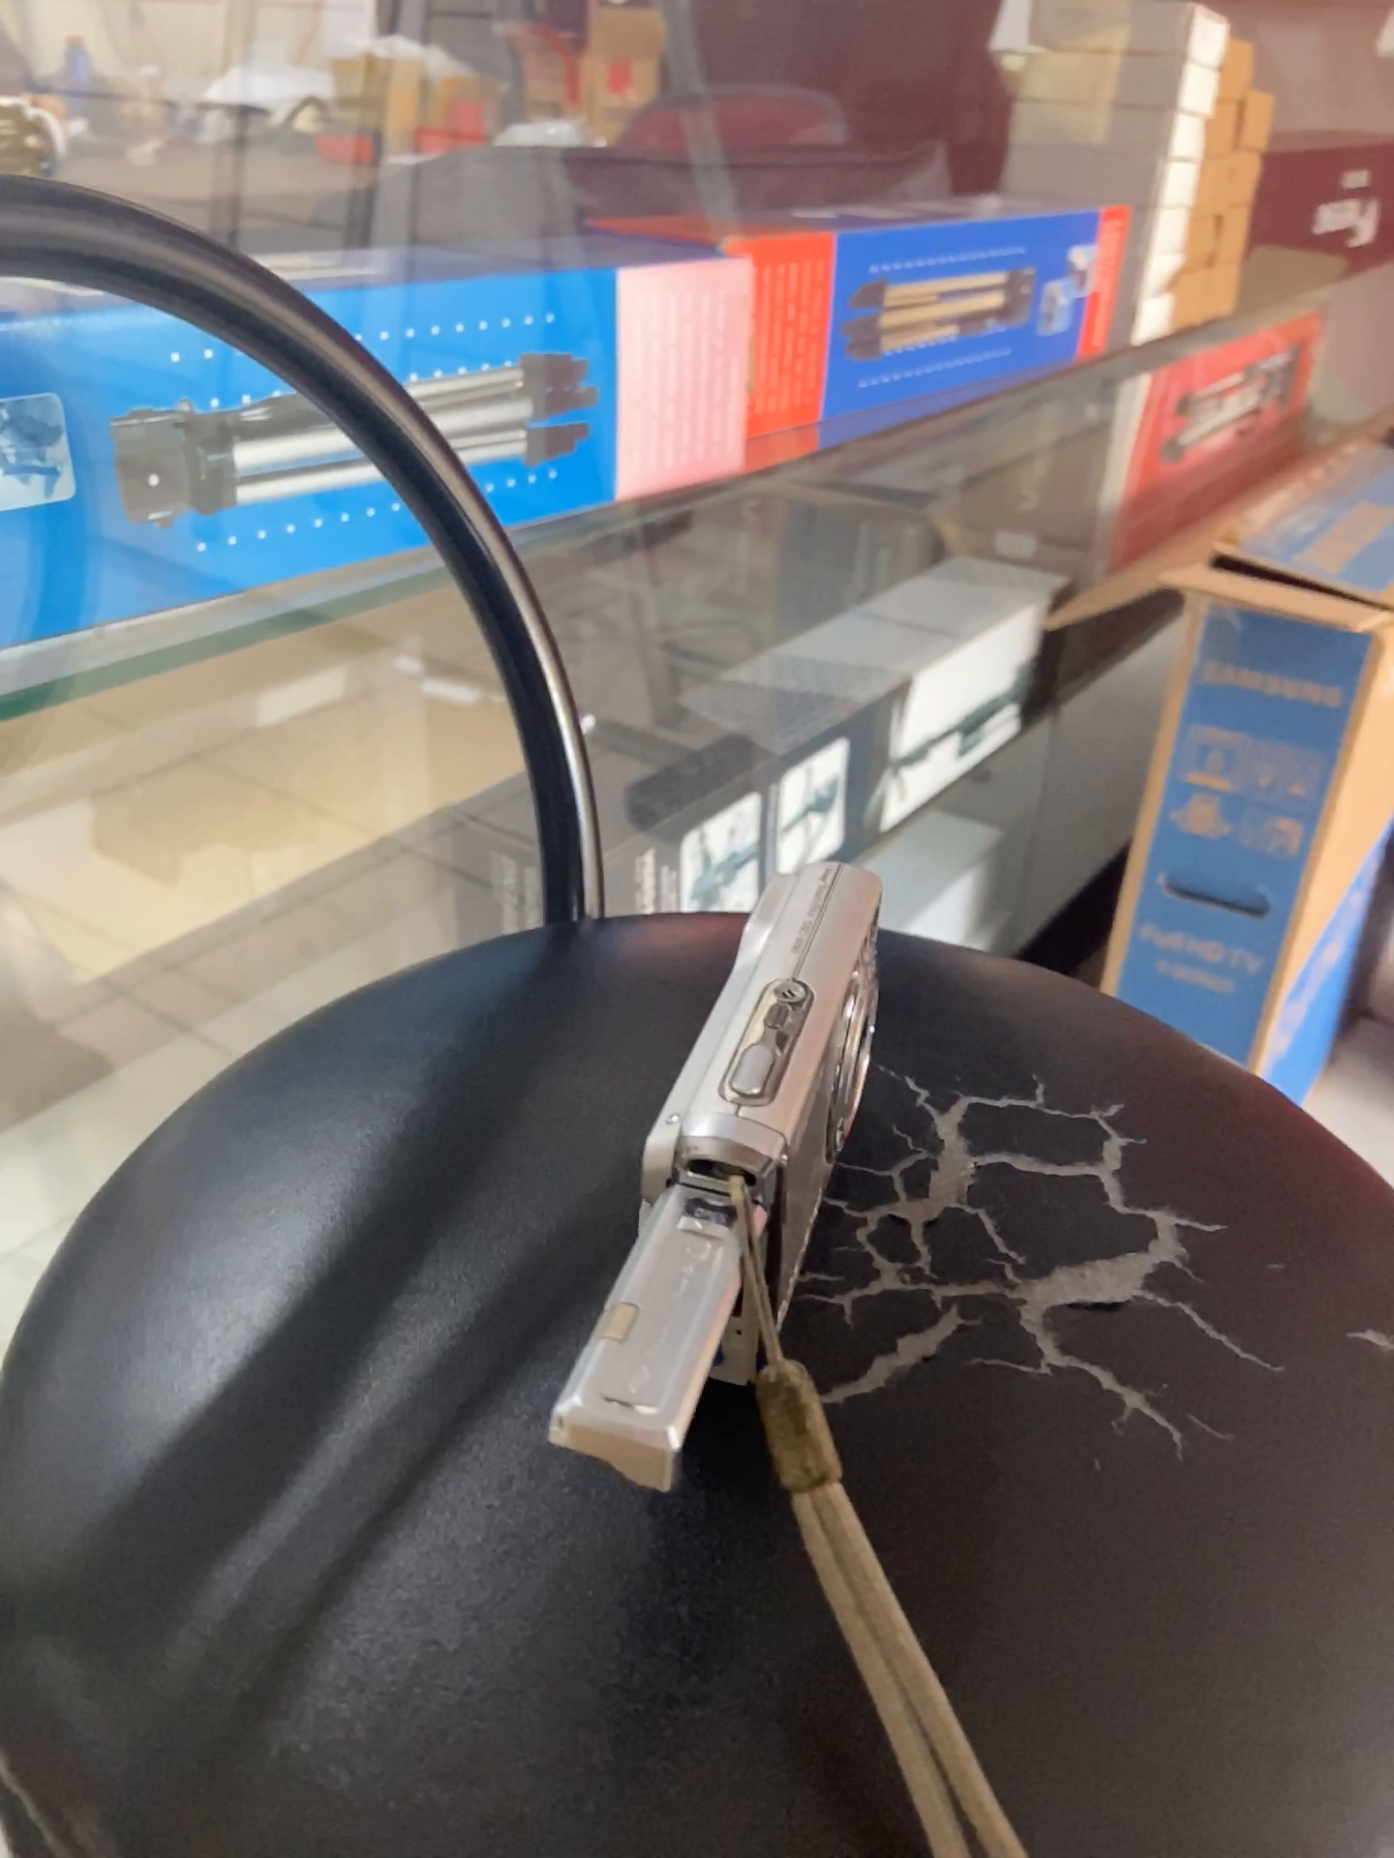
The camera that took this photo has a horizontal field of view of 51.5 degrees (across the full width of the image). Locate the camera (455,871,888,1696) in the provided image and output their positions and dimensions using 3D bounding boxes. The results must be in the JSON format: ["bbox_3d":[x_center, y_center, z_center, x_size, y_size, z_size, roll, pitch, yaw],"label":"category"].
[{"bbox_3d":[0.003,0.046,0.244,0.030,0.053,0.137,10,31,13],"label":"camera"}]
